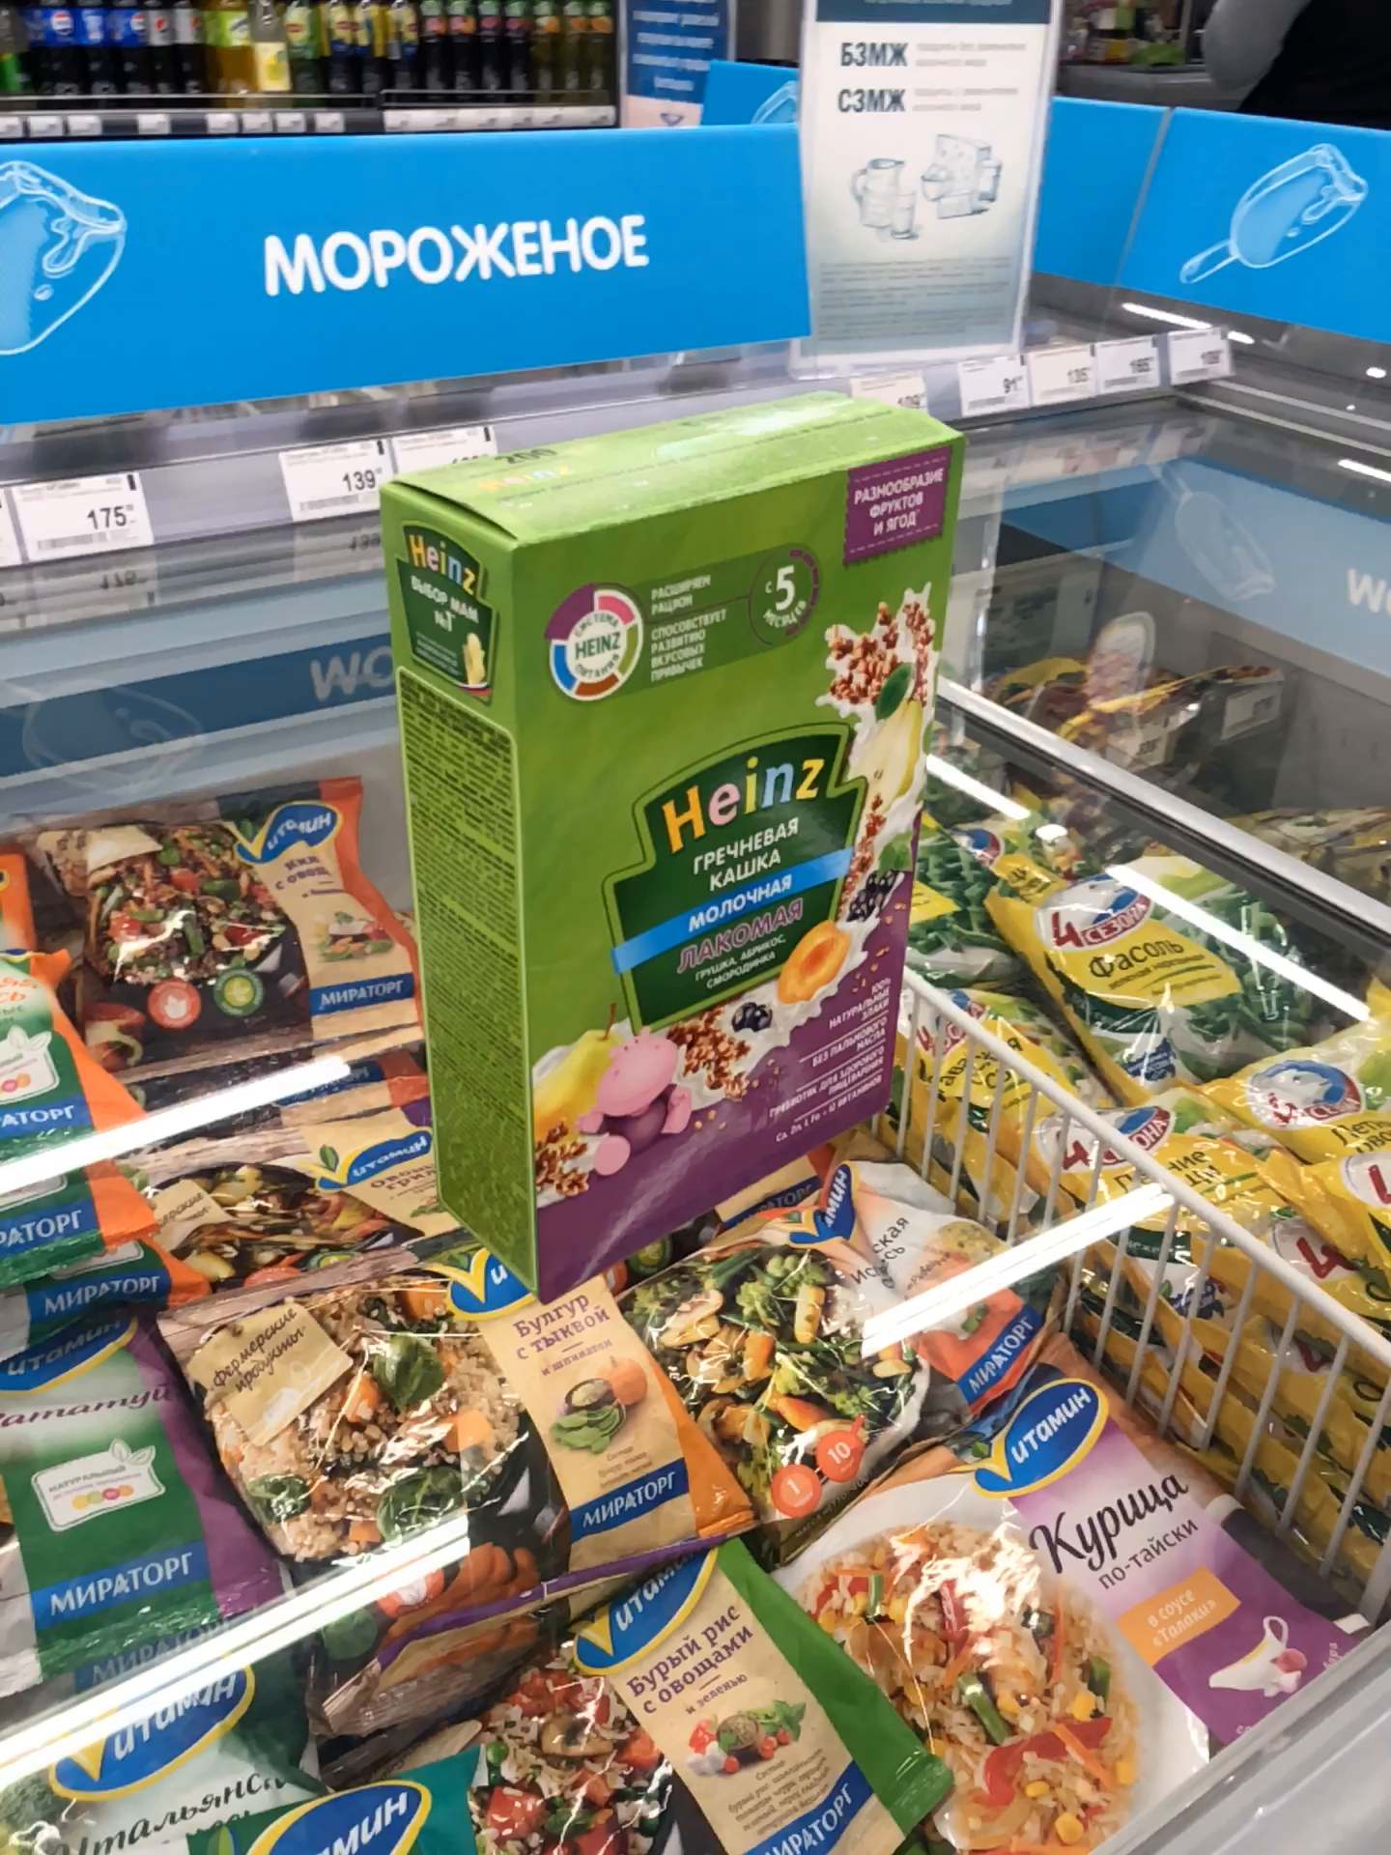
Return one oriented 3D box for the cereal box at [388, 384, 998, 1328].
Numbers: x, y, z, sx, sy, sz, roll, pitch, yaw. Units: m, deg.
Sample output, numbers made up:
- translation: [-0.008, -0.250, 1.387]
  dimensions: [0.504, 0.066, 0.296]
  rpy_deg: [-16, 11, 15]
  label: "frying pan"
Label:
- translation: [0.002, -0.018, 0.378]
  dimensions: [0.130, 0.199, 0.050]
  rpy_deg: [-24, 40, -35]
  label: "cereal box"
